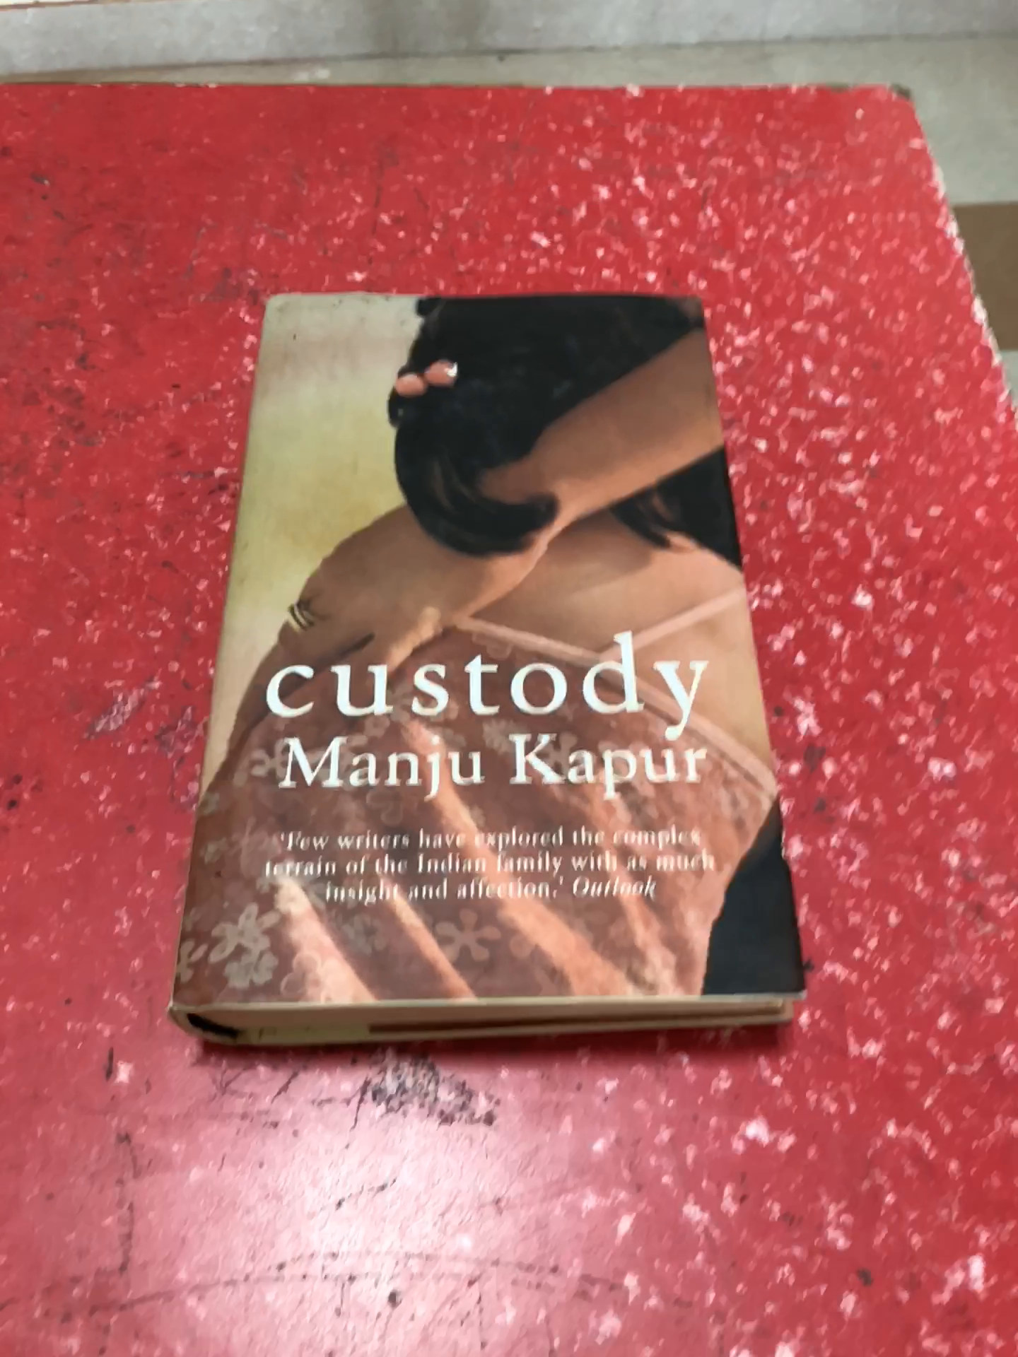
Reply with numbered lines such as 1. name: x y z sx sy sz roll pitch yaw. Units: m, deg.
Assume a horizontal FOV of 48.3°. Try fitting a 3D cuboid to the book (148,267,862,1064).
1. book: -0.004 -0.019 0.298 0.140 0.040 0.220 -1 58 -2
